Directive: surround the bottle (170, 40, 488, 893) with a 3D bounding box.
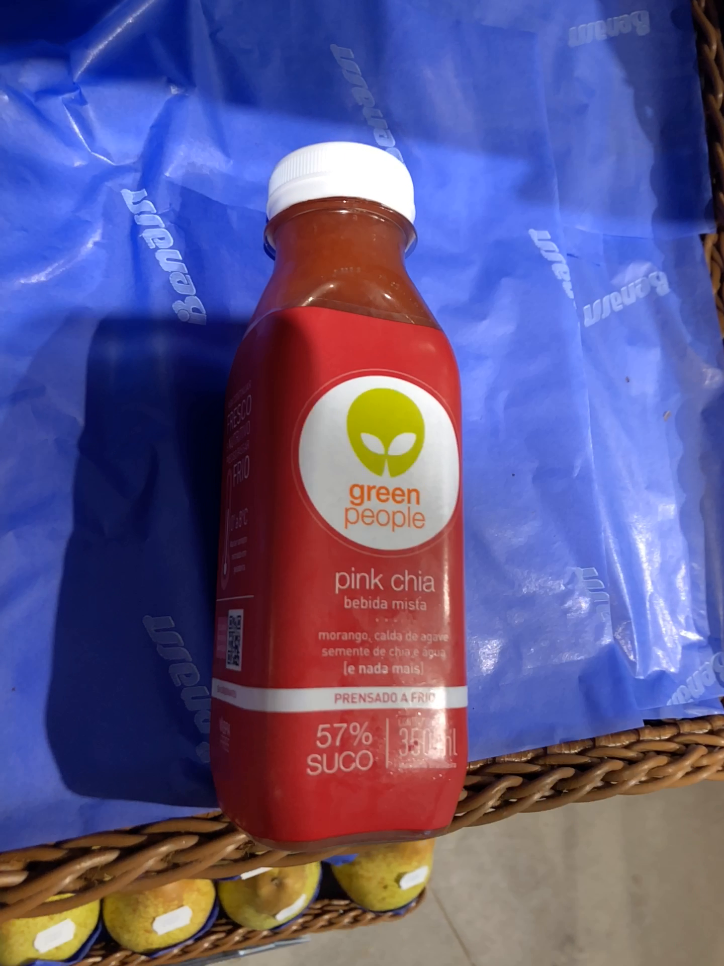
[{"bbox_3d":[-0.009,-0.006,0.213,0.060,0.060,0.190,6,77,-19],"label":"bottle"}]
